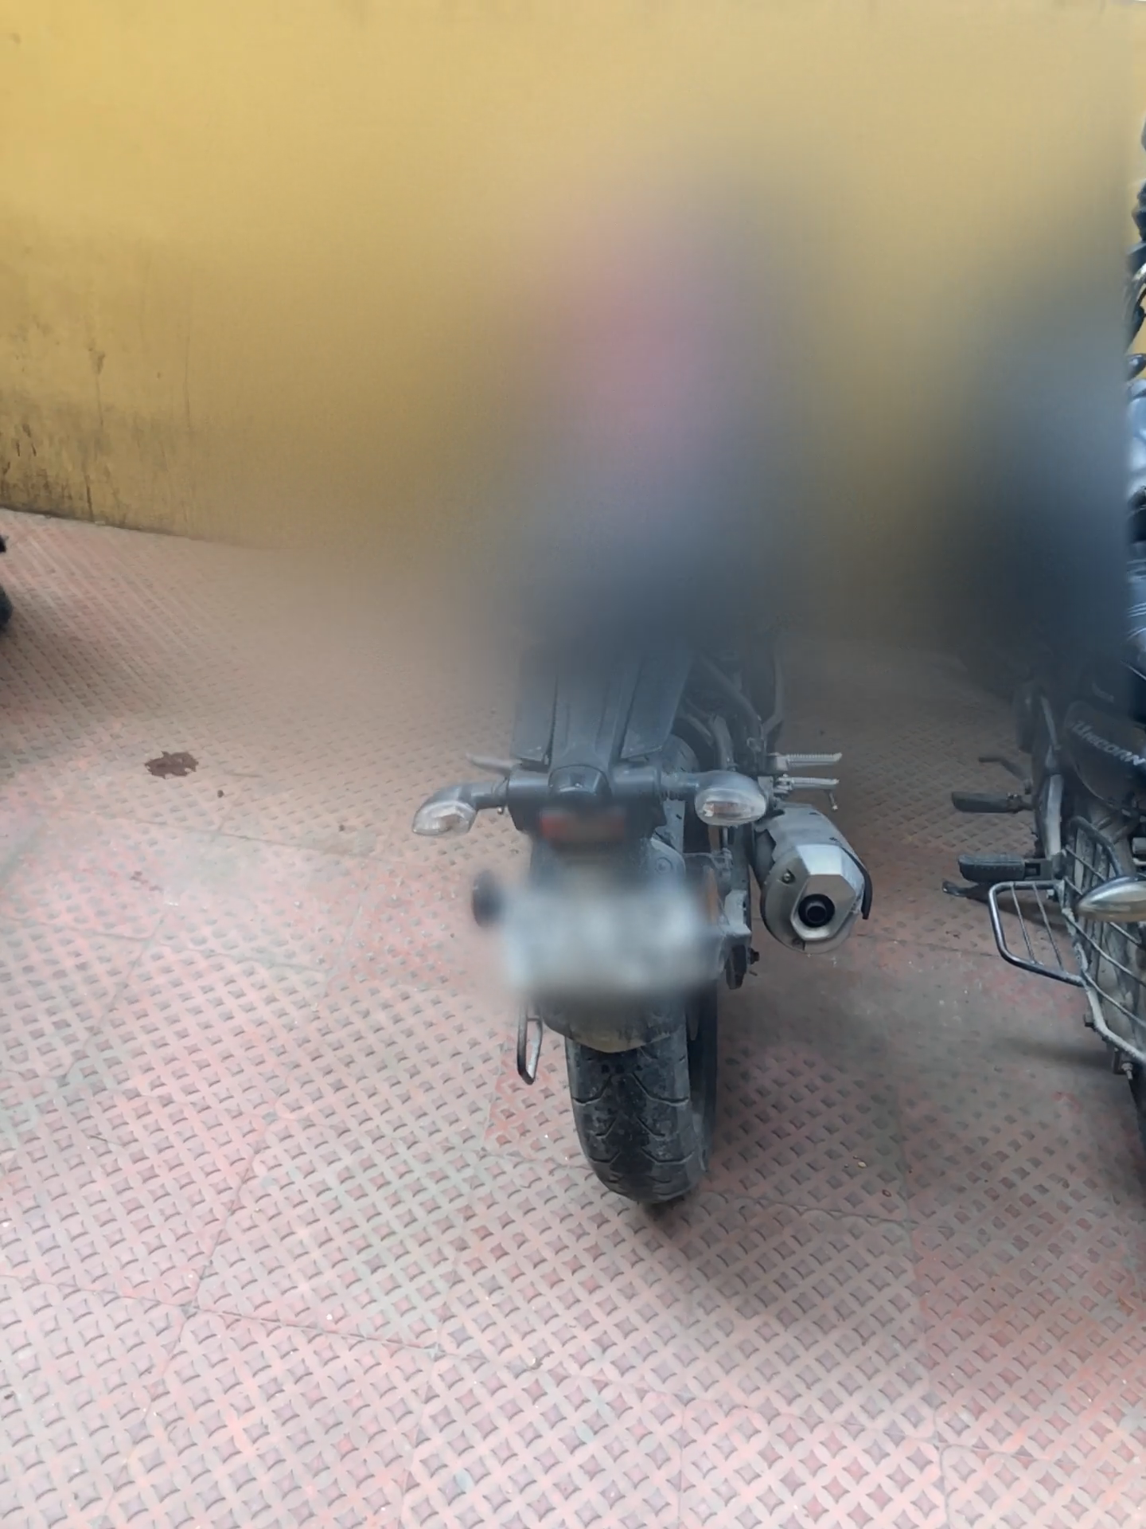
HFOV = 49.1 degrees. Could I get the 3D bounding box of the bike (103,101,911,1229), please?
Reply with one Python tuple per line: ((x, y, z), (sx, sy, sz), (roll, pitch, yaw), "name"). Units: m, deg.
((-0.117, -0.380, 2.047), (0.725, 0.870, 1.754), (5, 36, -3), "bike")
